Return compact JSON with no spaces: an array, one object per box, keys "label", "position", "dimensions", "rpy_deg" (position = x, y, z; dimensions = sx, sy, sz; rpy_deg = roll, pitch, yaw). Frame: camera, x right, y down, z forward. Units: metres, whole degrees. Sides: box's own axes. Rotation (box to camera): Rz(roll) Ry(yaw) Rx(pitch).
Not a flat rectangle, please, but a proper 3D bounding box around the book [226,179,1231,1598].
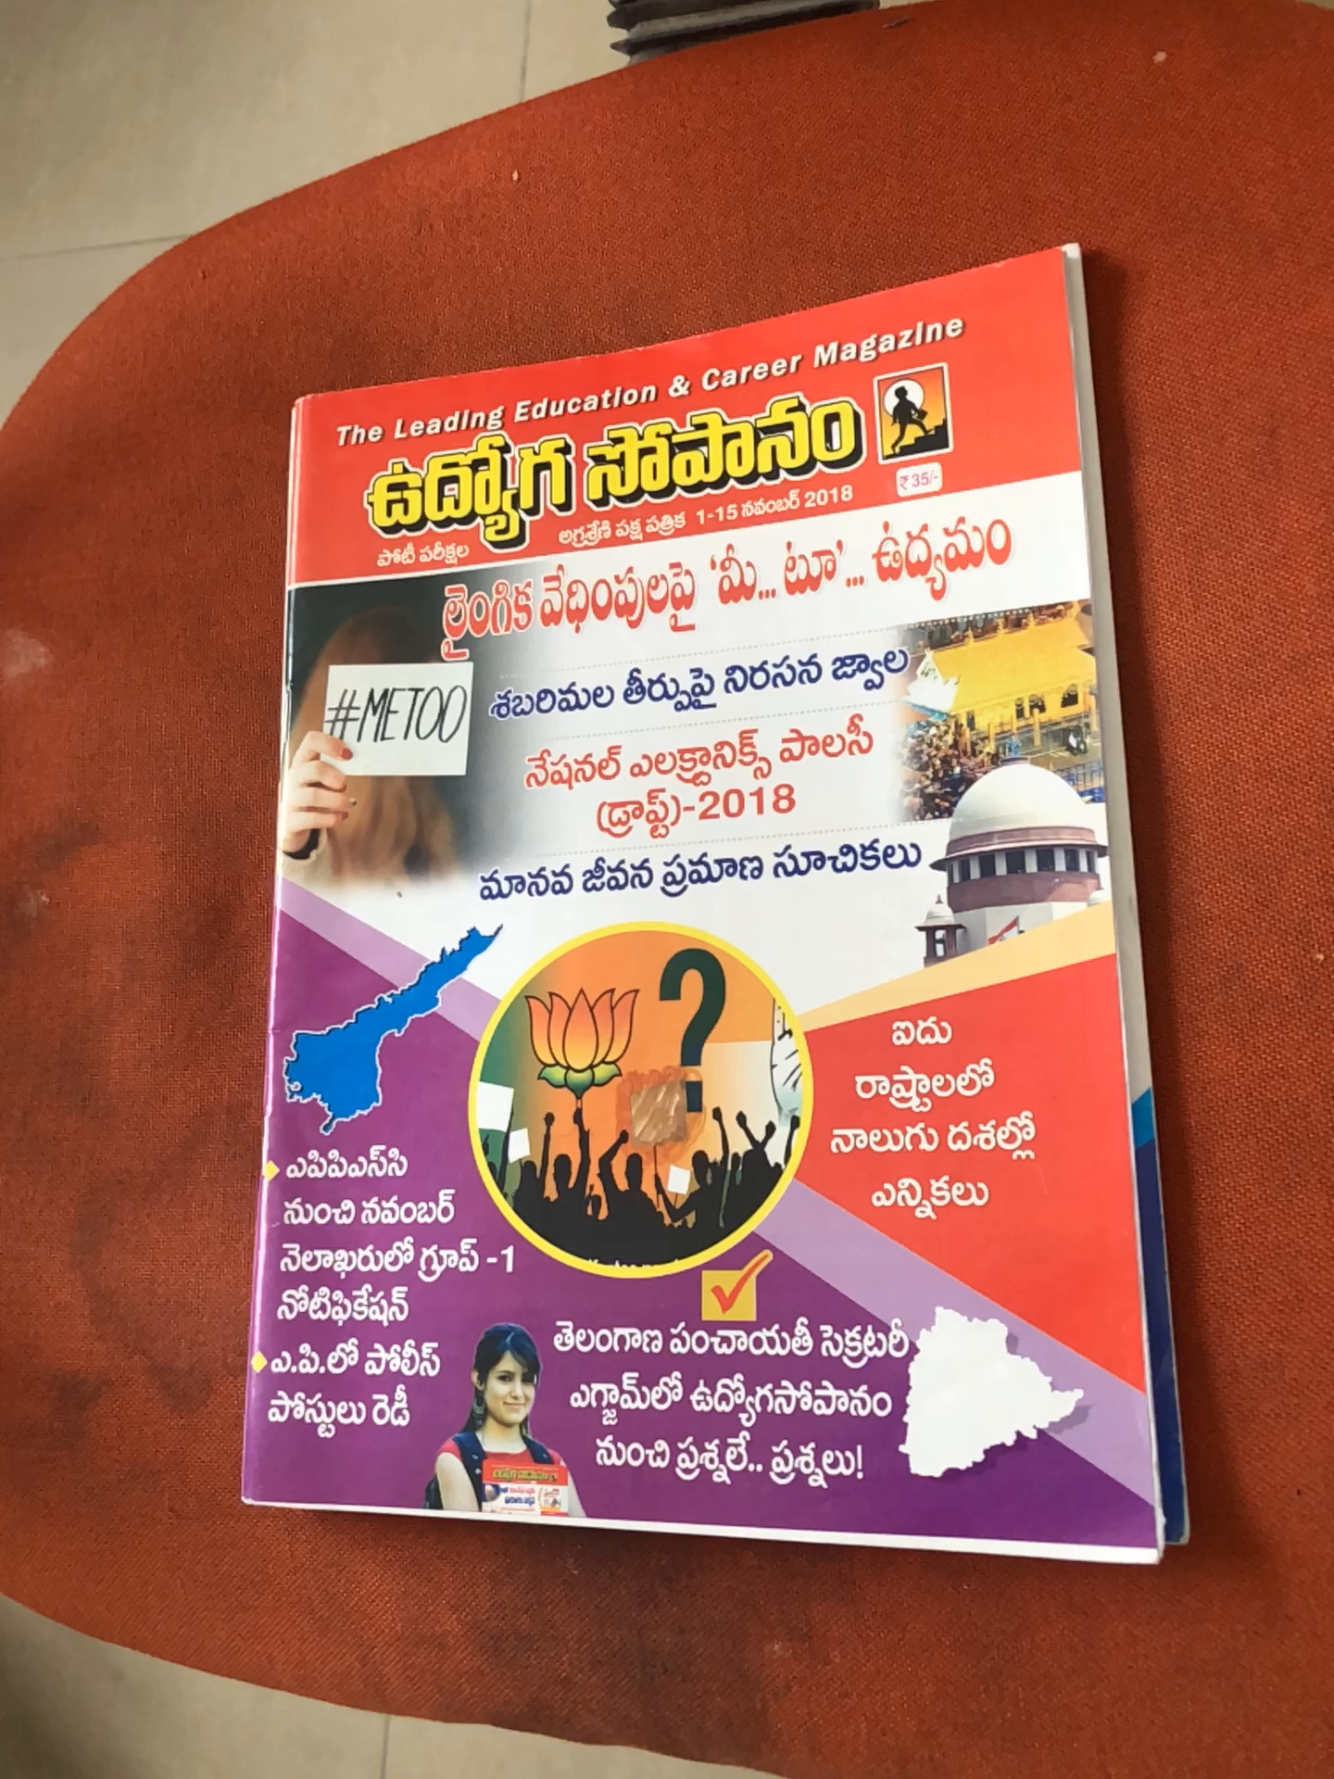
[{"label":"book","position":[0.005,-0.003,0.354],"dimensions":[0.217,0.040,0.295],"rpy_deg":[-5,76,20]}]
